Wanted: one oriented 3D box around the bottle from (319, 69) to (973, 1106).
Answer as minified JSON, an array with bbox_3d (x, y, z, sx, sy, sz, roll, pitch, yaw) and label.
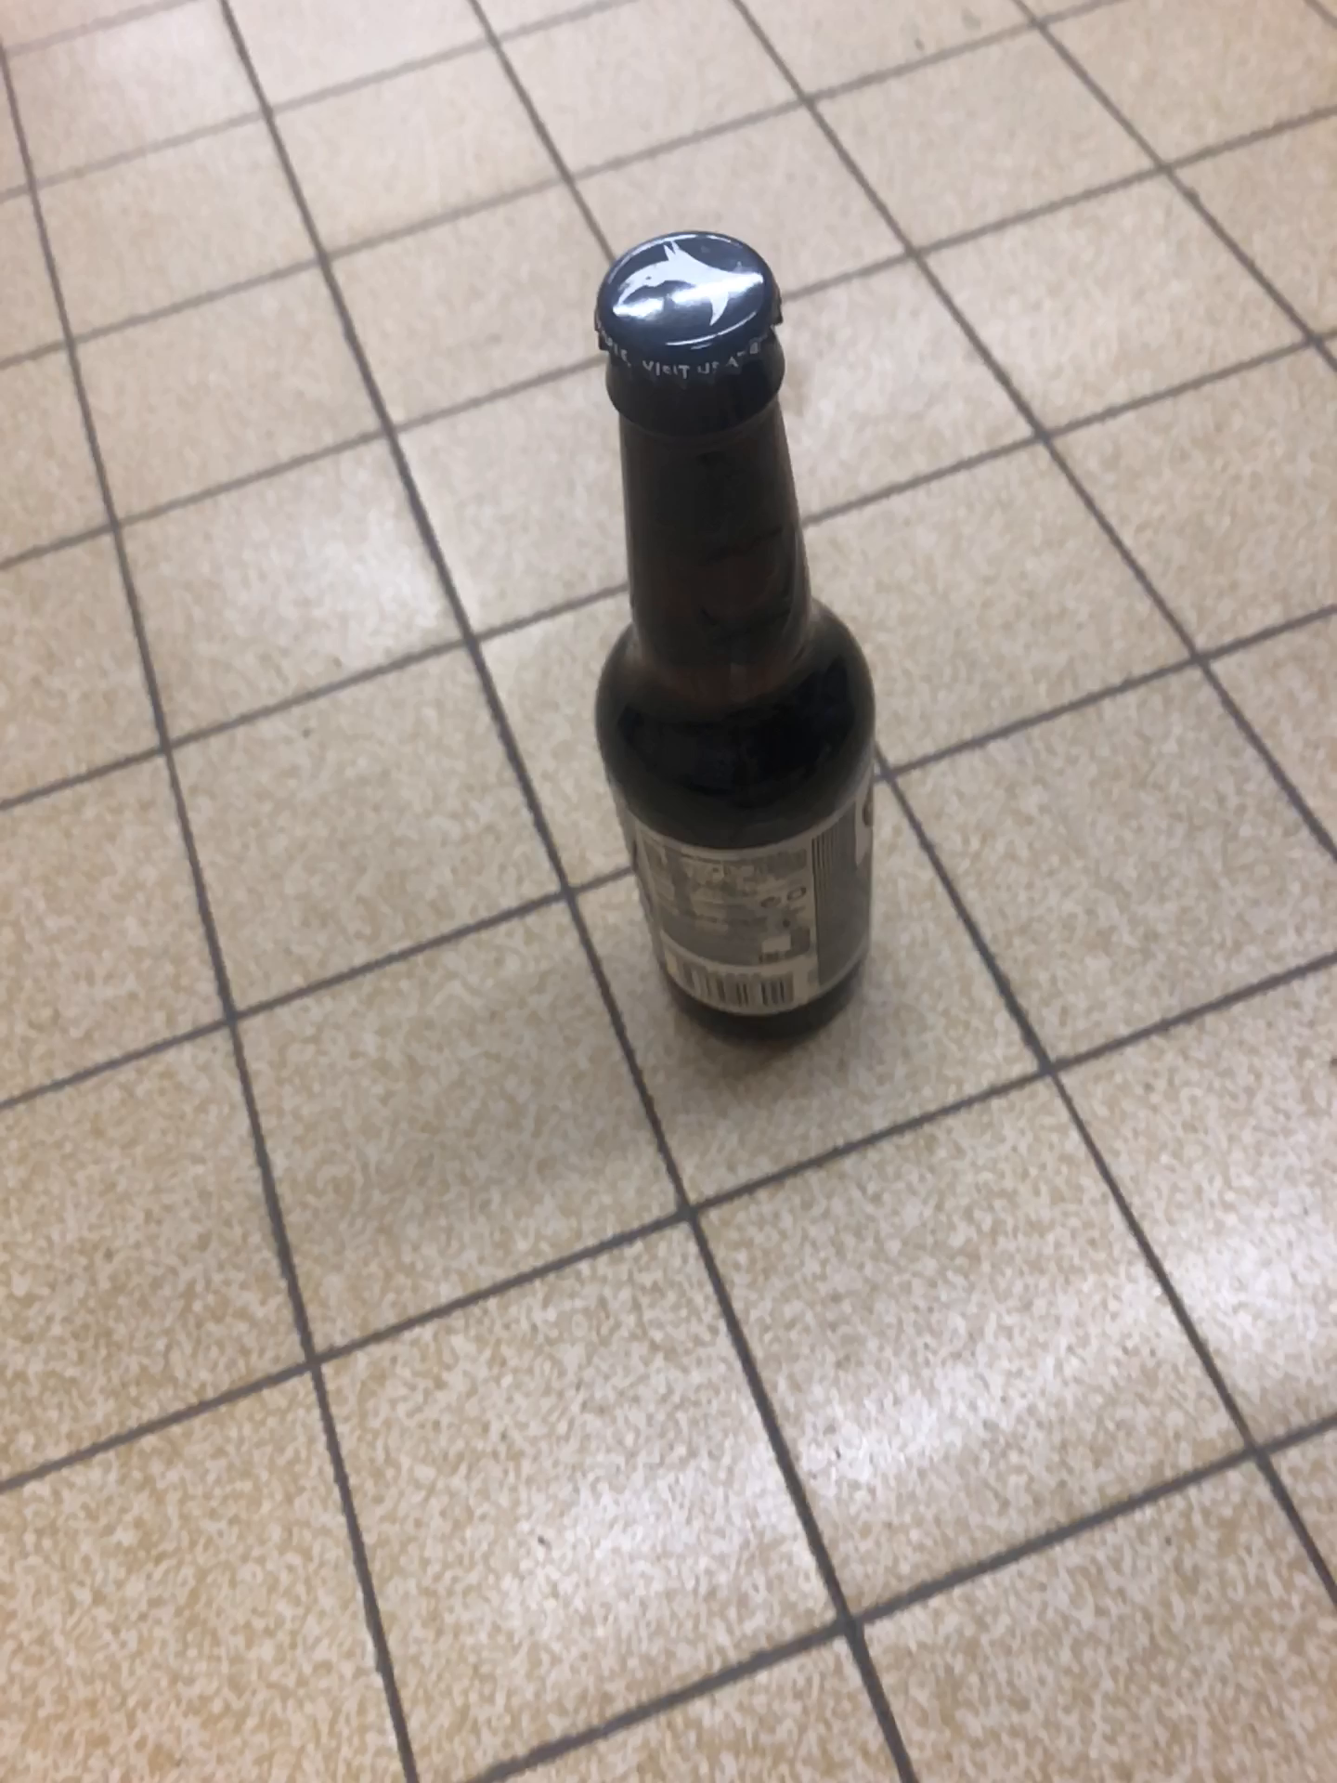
[{"bbox_3d":[0.007,-0.039,0.319,0.070,0.222,0.070,-3,62,6],"label":"bottle"}]
